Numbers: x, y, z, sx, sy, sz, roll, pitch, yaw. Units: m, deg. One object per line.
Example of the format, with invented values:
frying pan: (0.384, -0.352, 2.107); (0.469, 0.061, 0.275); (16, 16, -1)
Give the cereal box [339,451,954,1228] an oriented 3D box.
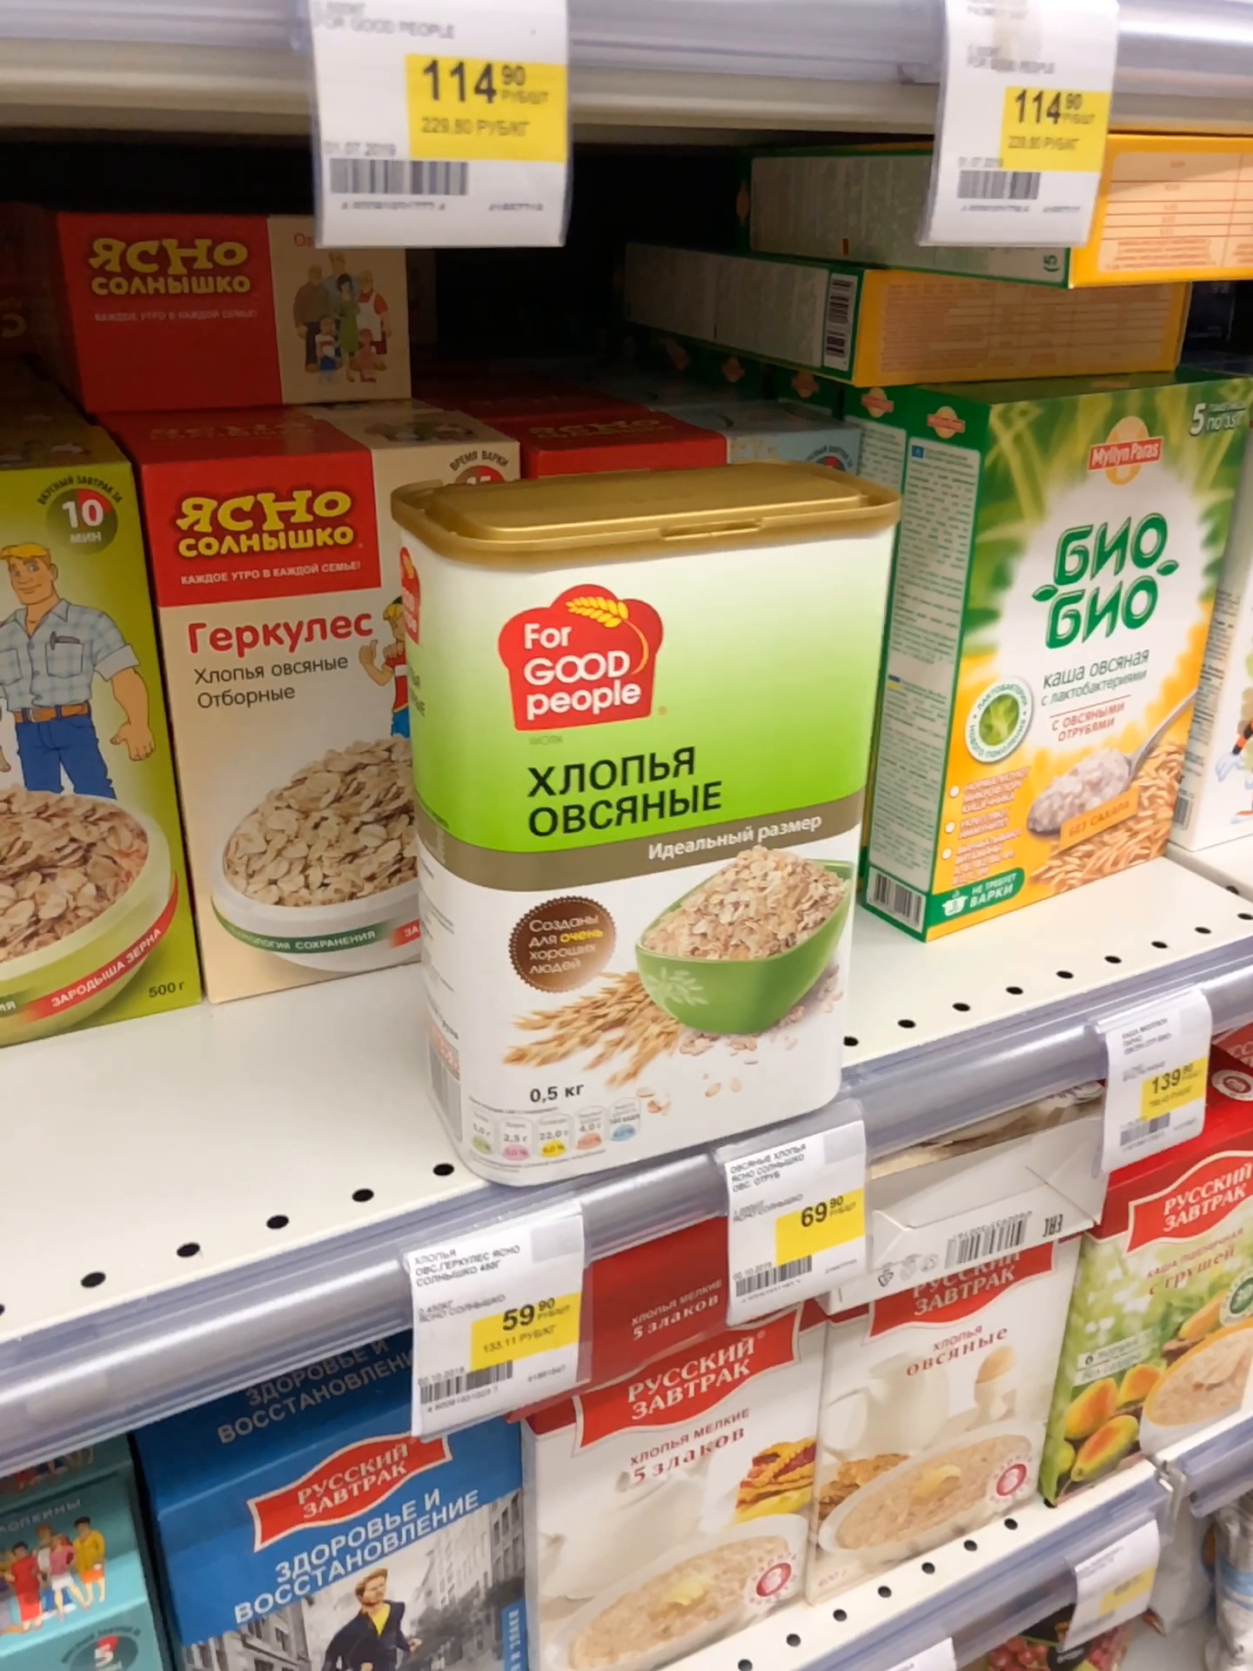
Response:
cereal box: (0.002, -0.005, 0.409); (0.140, 0.189, 0.090); (-9, 27, -21)
